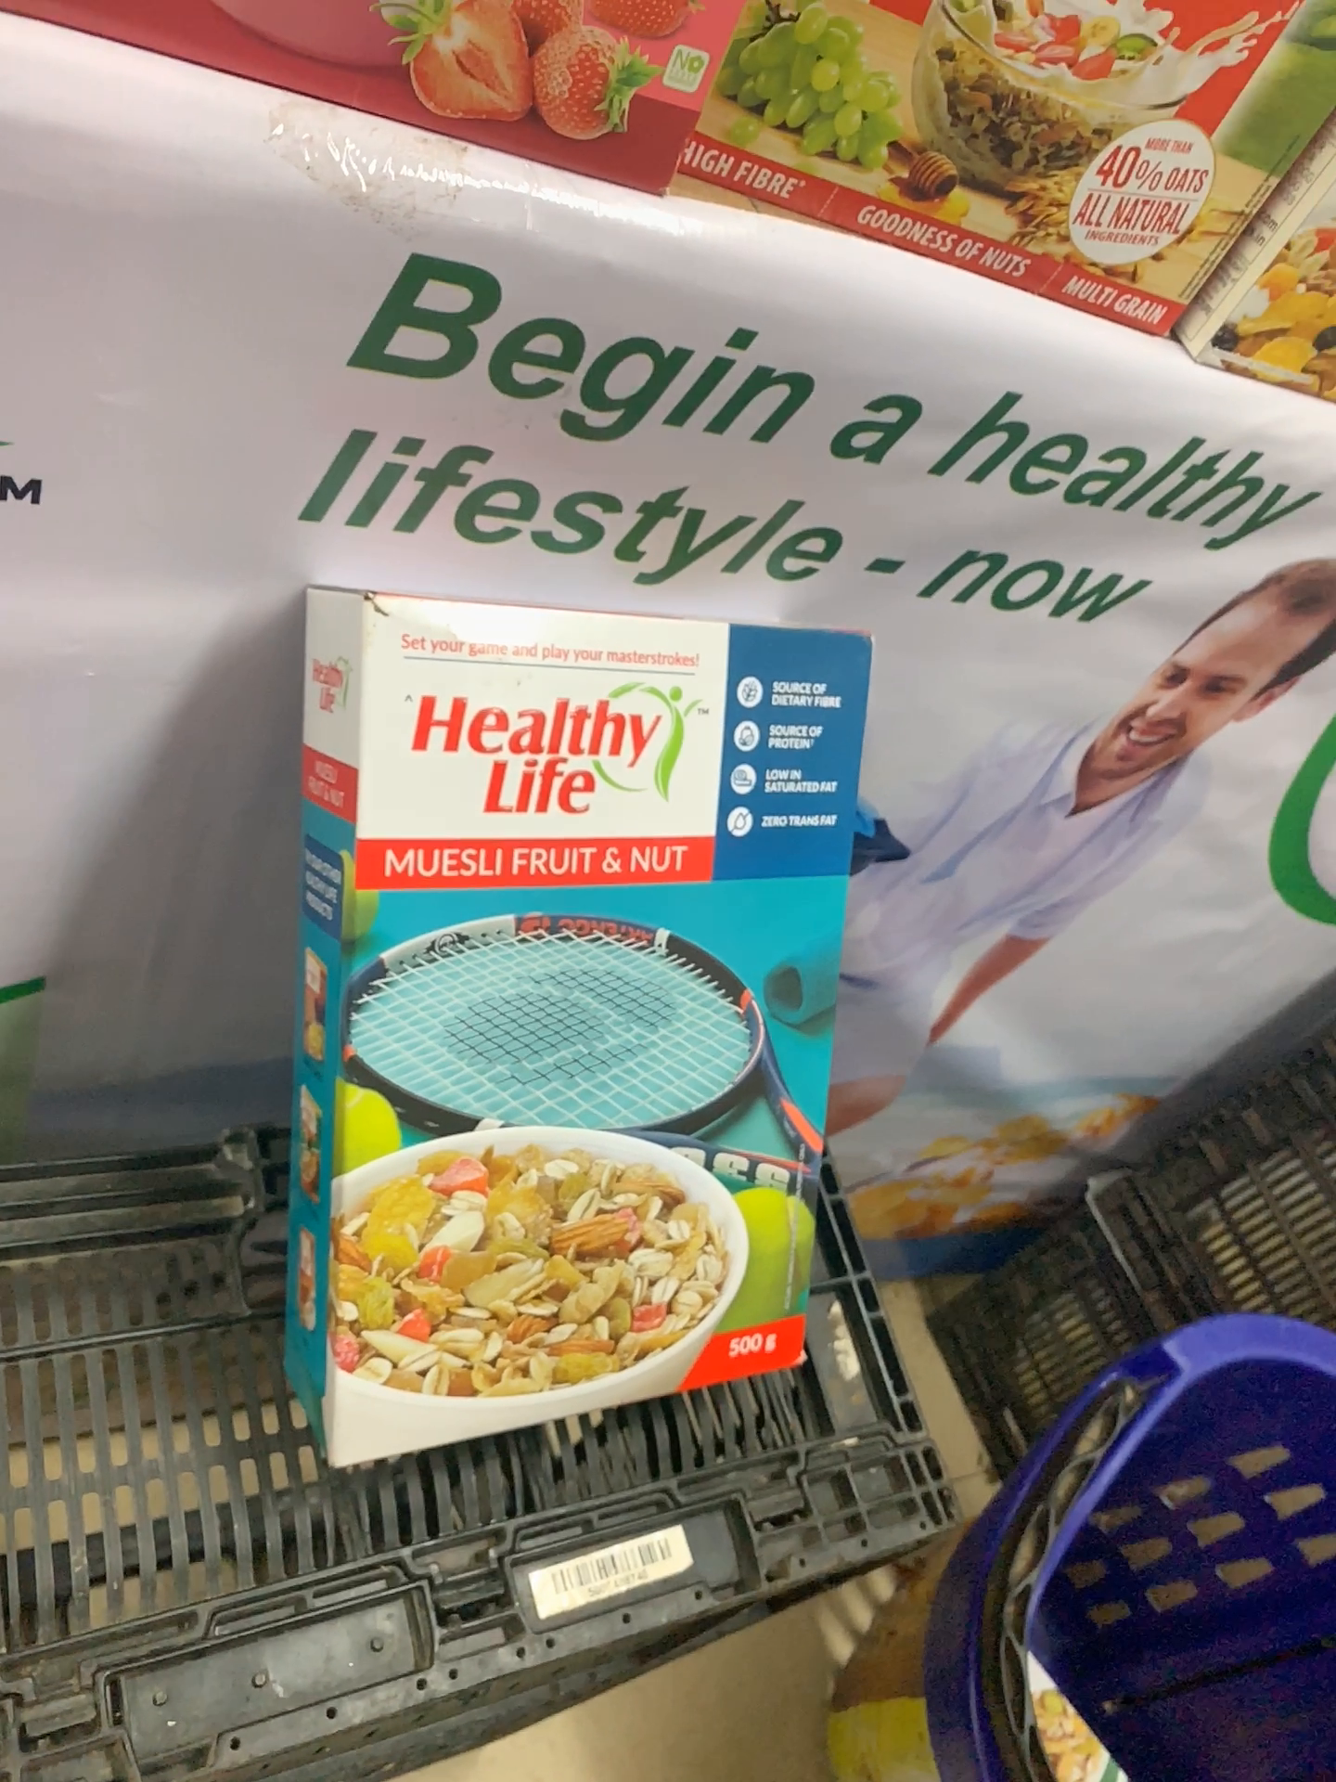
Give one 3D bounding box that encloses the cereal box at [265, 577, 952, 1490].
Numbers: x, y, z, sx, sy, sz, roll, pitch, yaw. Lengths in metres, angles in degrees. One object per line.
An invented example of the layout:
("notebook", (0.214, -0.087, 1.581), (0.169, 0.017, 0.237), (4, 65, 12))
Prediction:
("cereal box", (-0.021, 0.036, 0.438), (0.190, 0.250, 0.070), (-2, 13, -28))
